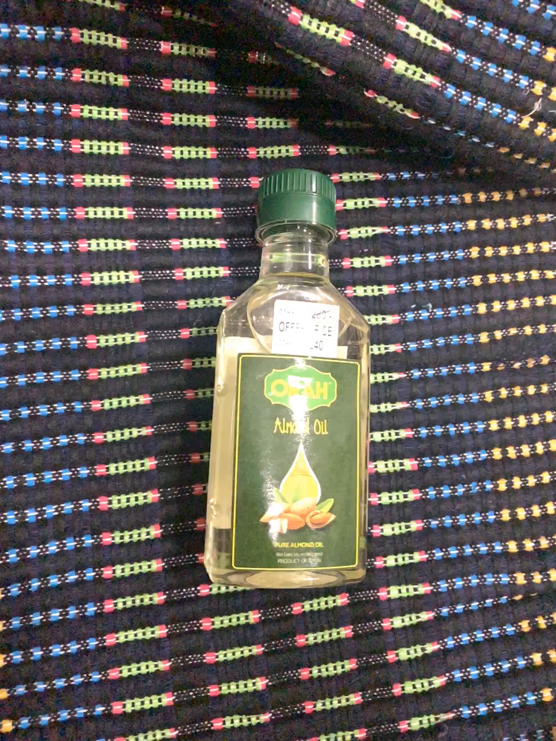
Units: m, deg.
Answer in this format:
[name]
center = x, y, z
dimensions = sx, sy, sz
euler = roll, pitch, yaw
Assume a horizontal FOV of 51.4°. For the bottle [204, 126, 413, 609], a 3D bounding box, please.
[bottle]
center = 0.011, -0.002, 0.197
dimensions = 0.060, 0.030, 0.150
euler = 5, 80, -11
